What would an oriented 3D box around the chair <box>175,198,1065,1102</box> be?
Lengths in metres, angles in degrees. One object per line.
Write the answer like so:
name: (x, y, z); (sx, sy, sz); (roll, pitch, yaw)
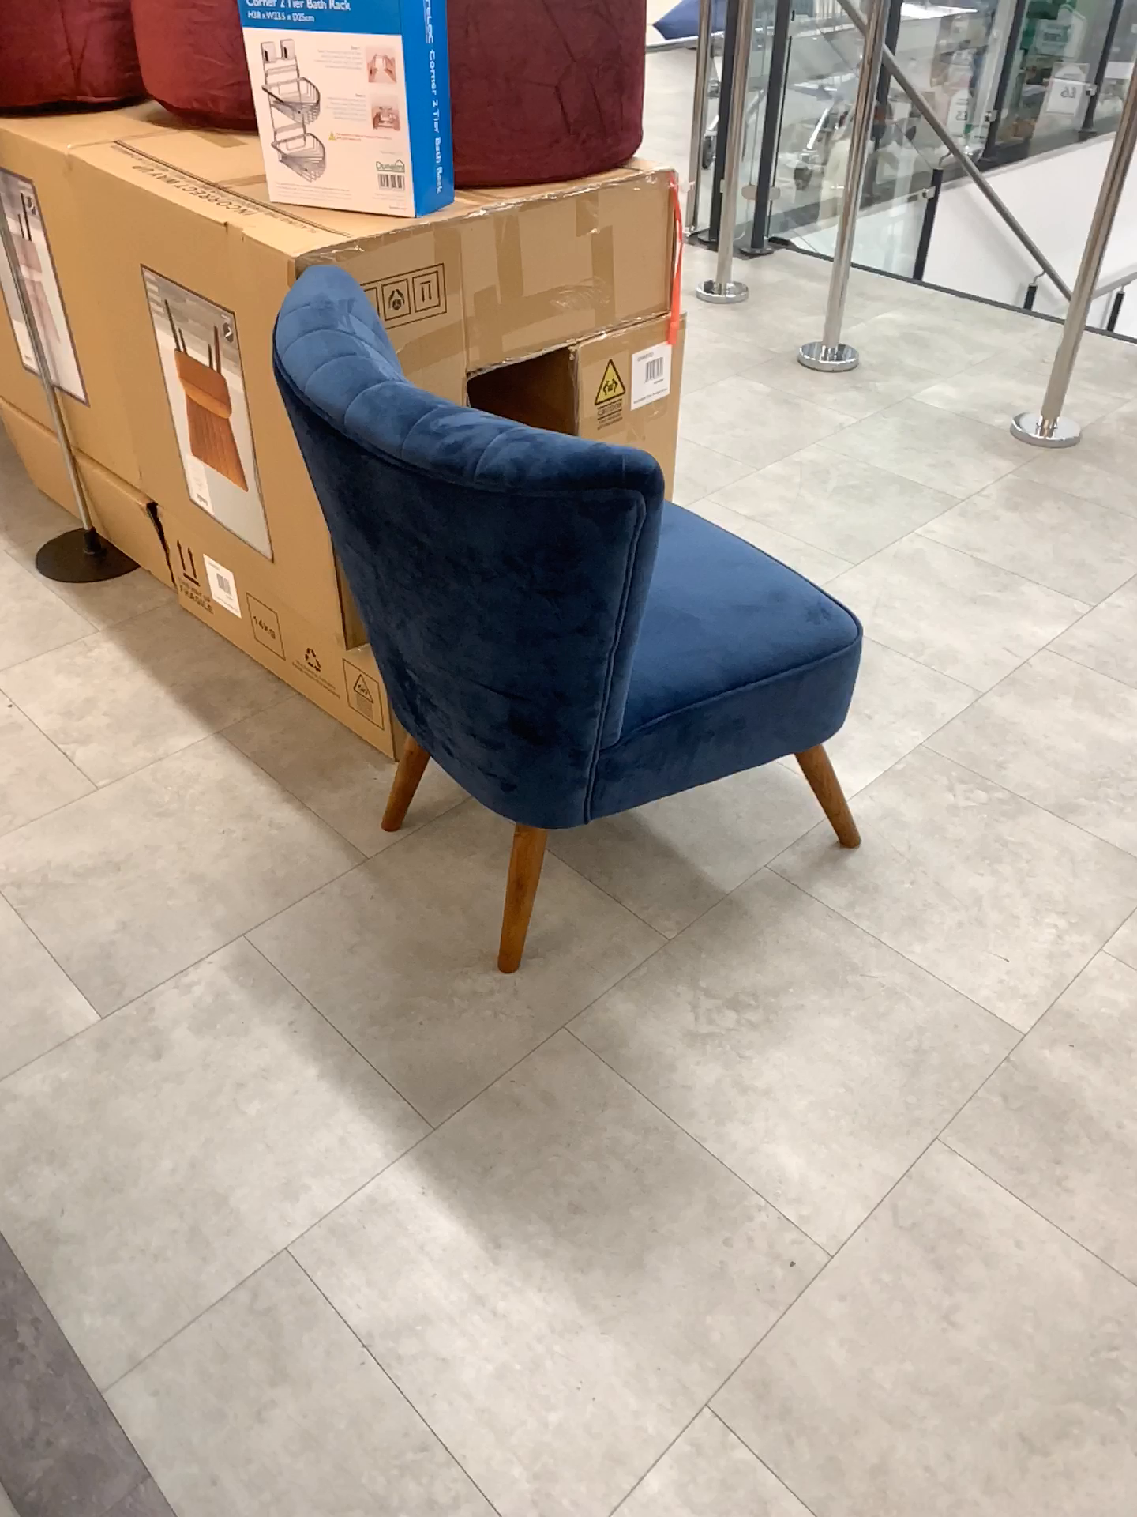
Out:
chair: (0.038, -0.210, 1.573); (0.728, 0.789, 0.734); (-26, 46, -30)
